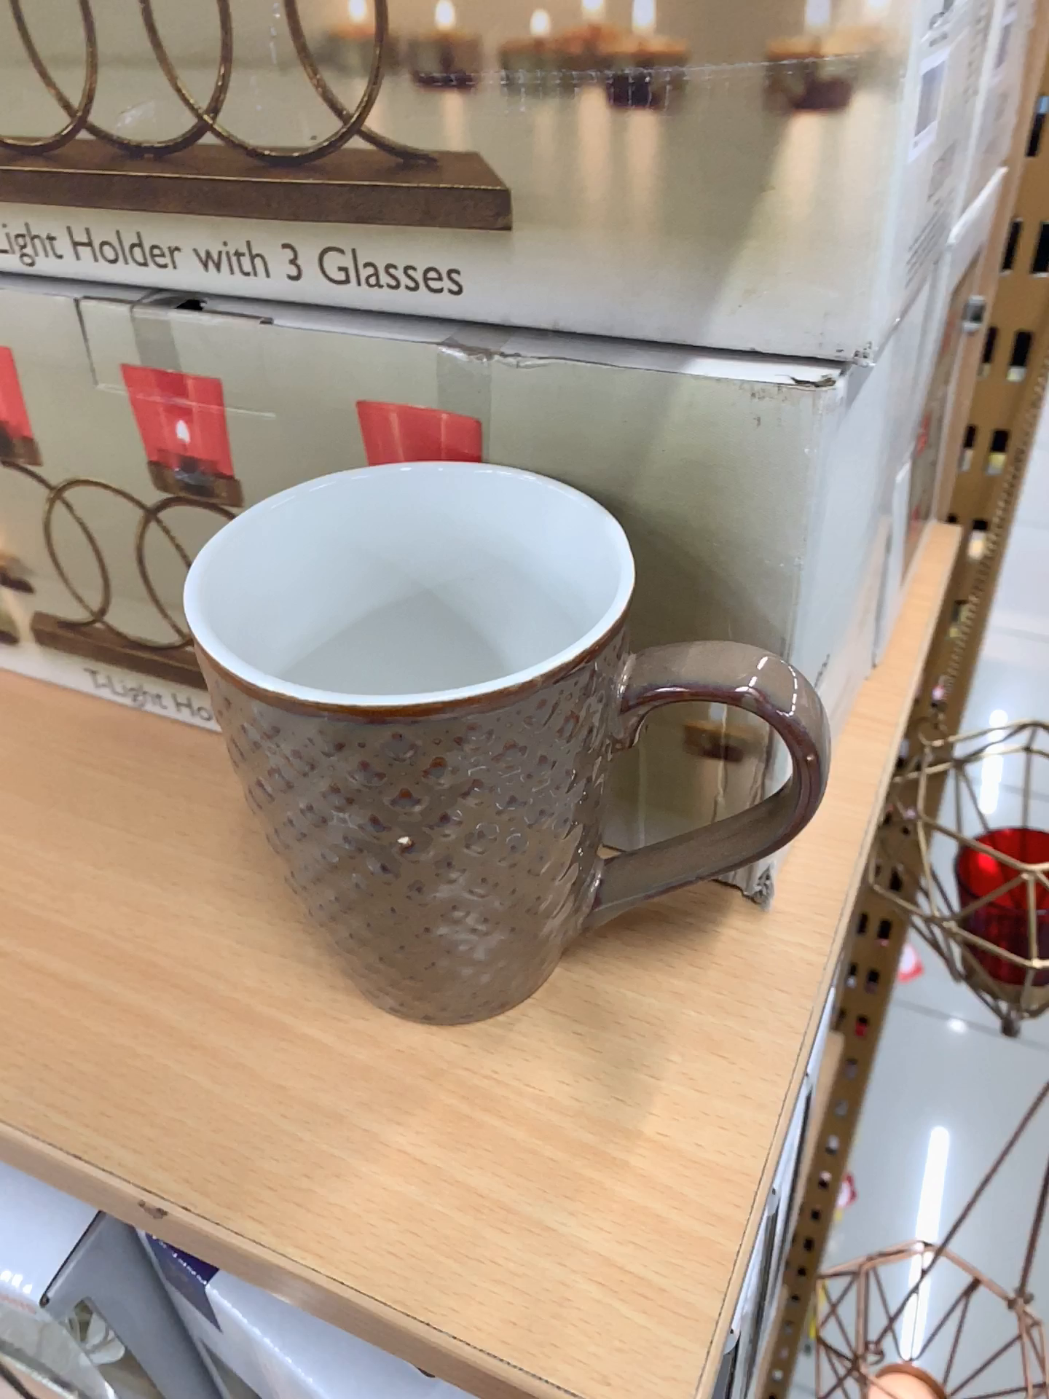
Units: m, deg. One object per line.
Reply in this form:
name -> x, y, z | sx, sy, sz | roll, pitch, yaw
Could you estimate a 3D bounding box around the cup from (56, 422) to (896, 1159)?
cup -> -0.003, 0.010, 0.227 | 0.130, 0.090, 0.090 | 12, 37, 17
